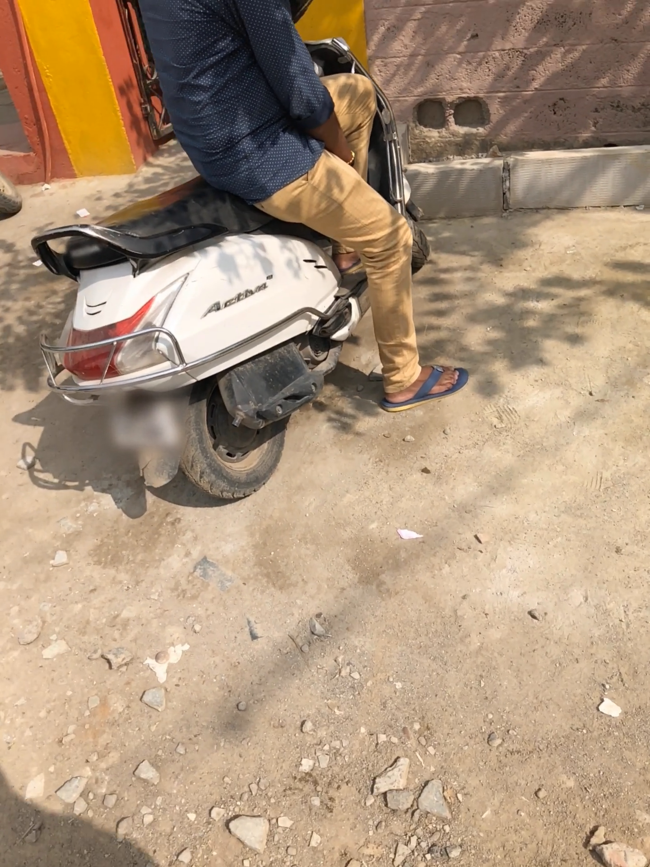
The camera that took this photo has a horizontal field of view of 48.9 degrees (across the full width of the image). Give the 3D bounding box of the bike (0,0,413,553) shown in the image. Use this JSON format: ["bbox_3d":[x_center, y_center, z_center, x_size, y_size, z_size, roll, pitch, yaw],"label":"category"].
[{"bbox_3d":[-0.267,-0.706,2.199,0.620,1.188,1.603,9,42,21],"label":"bike"}]
